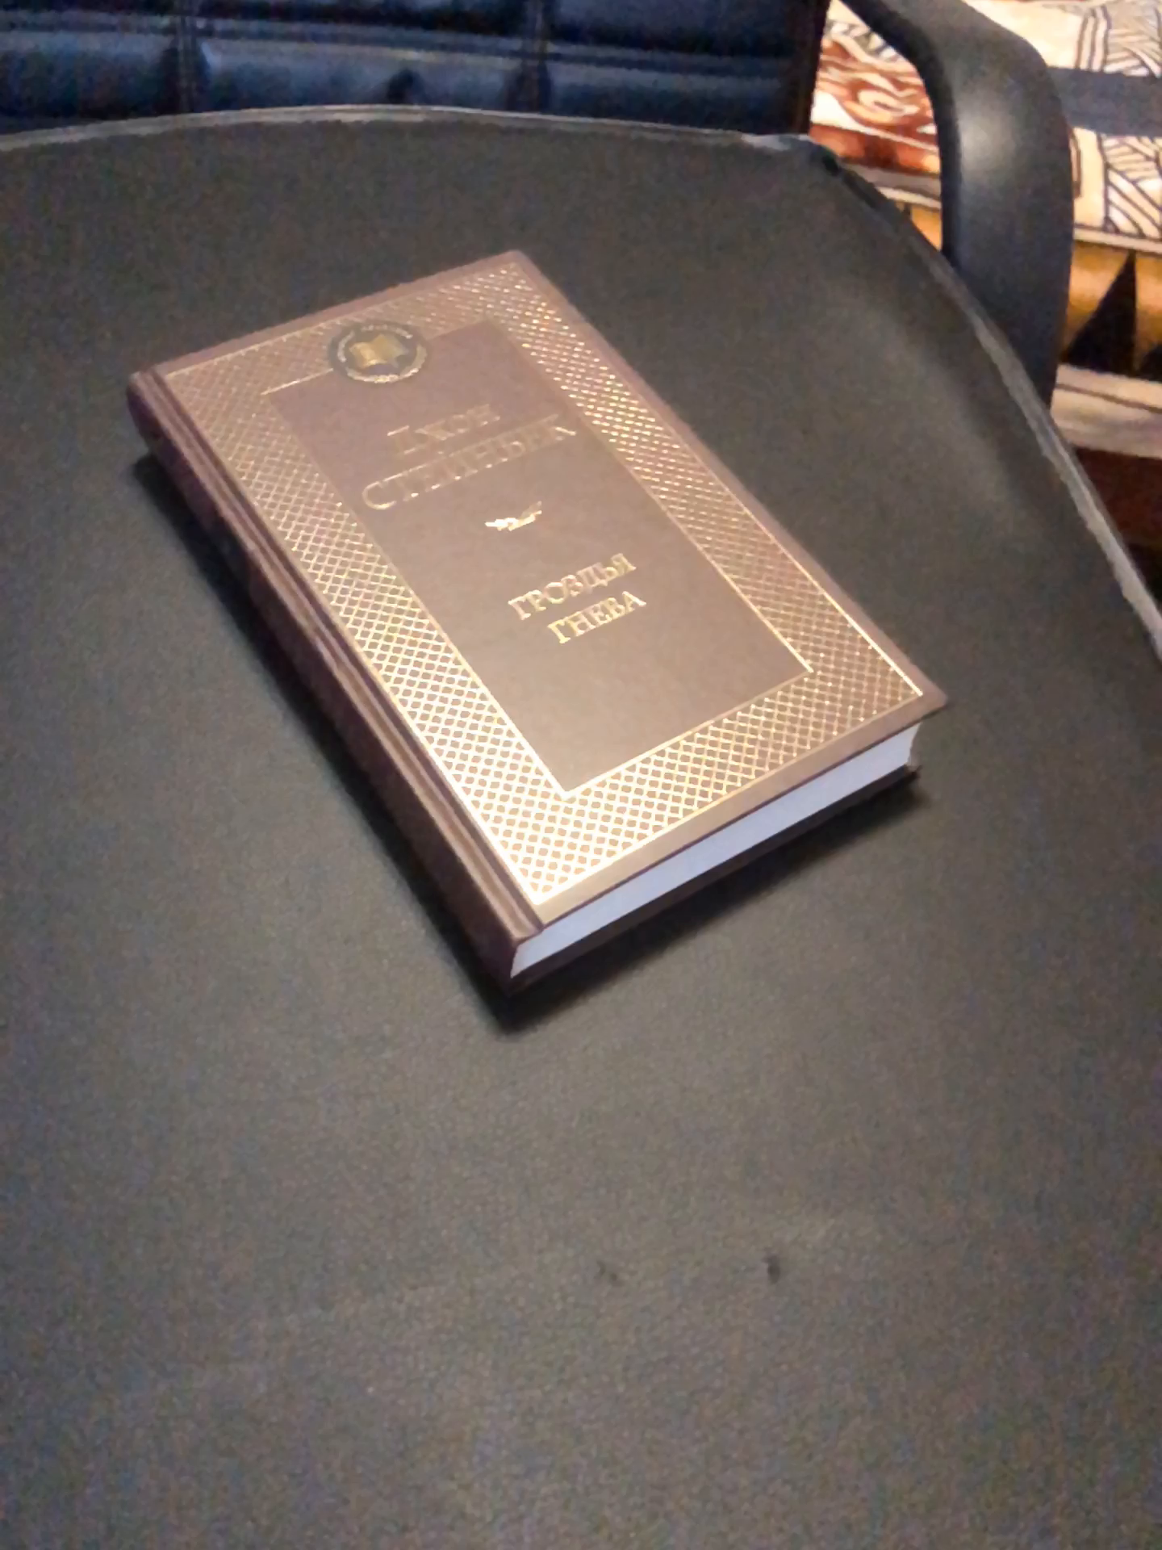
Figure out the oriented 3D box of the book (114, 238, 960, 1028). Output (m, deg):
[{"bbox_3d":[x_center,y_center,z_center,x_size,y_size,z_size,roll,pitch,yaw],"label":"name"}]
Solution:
[{"bbox_3d":[-0.018,-0.053,0.345,0.130,0.040,0.200,-27,65,-22],"label":"book"}]
